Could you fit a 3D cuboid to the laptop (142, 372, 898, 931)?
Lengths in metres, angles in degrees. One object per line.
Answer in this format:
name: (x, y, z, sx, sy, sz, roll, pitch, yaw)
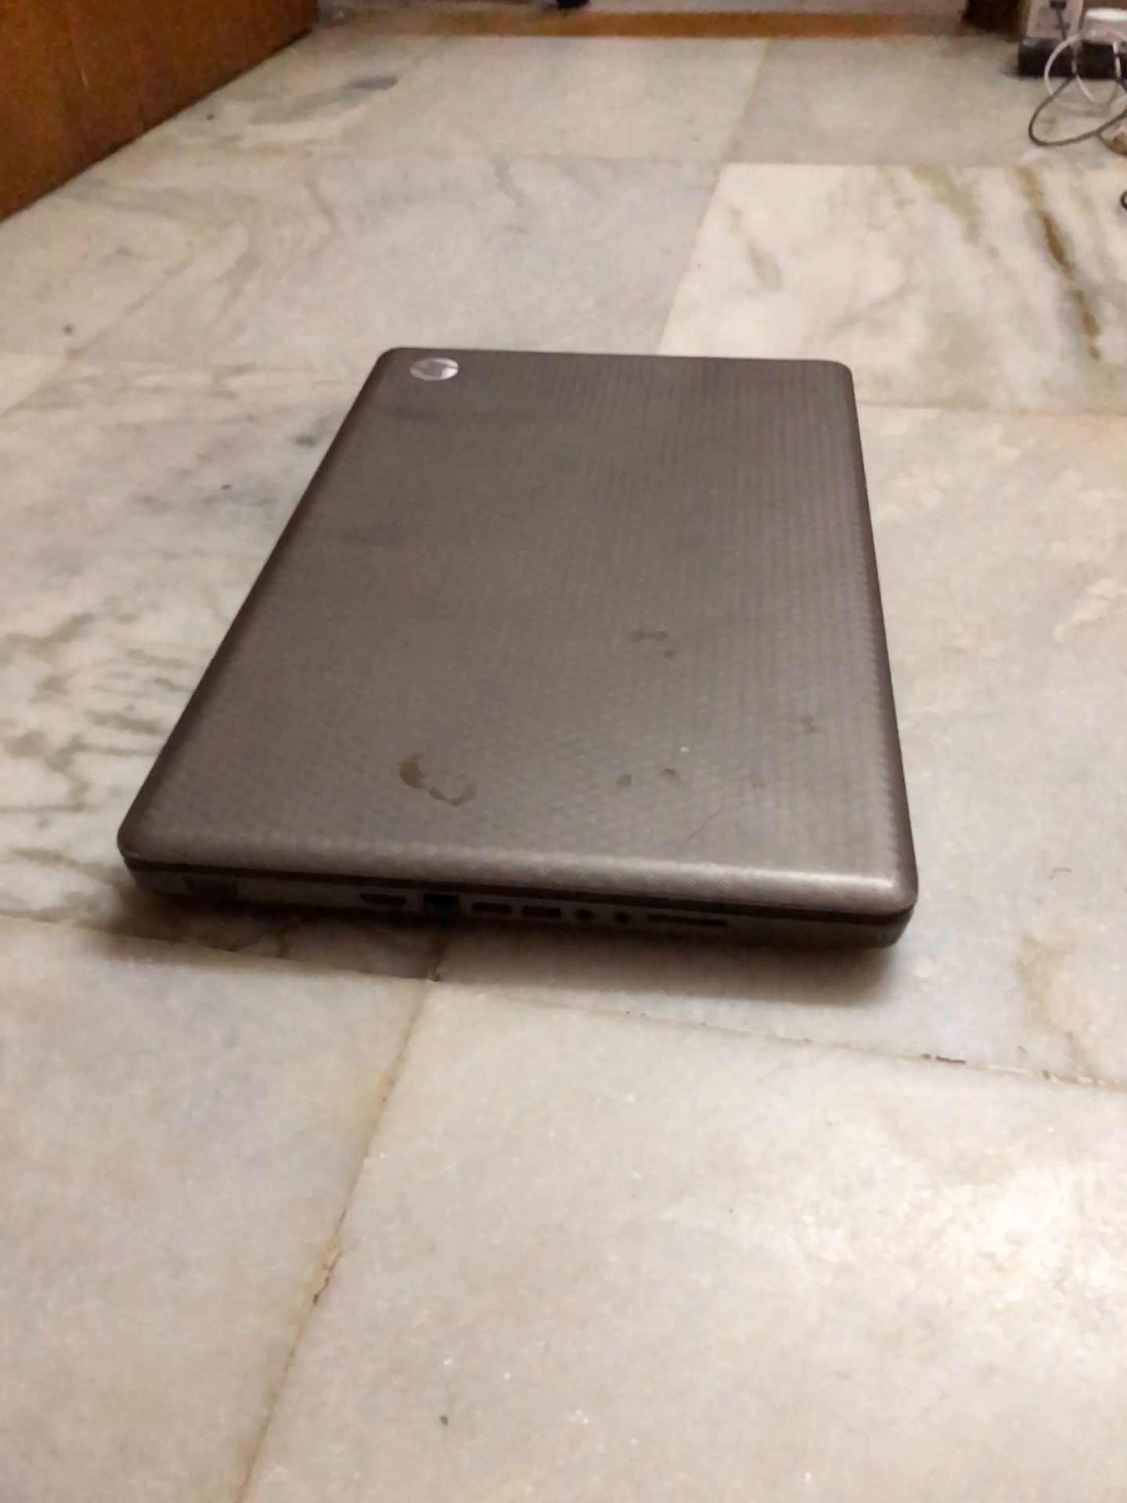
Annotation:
laptop: (0.006, -0.078, 0.543, 0.248, 0.002, 0.380, 4, 42, 6)
